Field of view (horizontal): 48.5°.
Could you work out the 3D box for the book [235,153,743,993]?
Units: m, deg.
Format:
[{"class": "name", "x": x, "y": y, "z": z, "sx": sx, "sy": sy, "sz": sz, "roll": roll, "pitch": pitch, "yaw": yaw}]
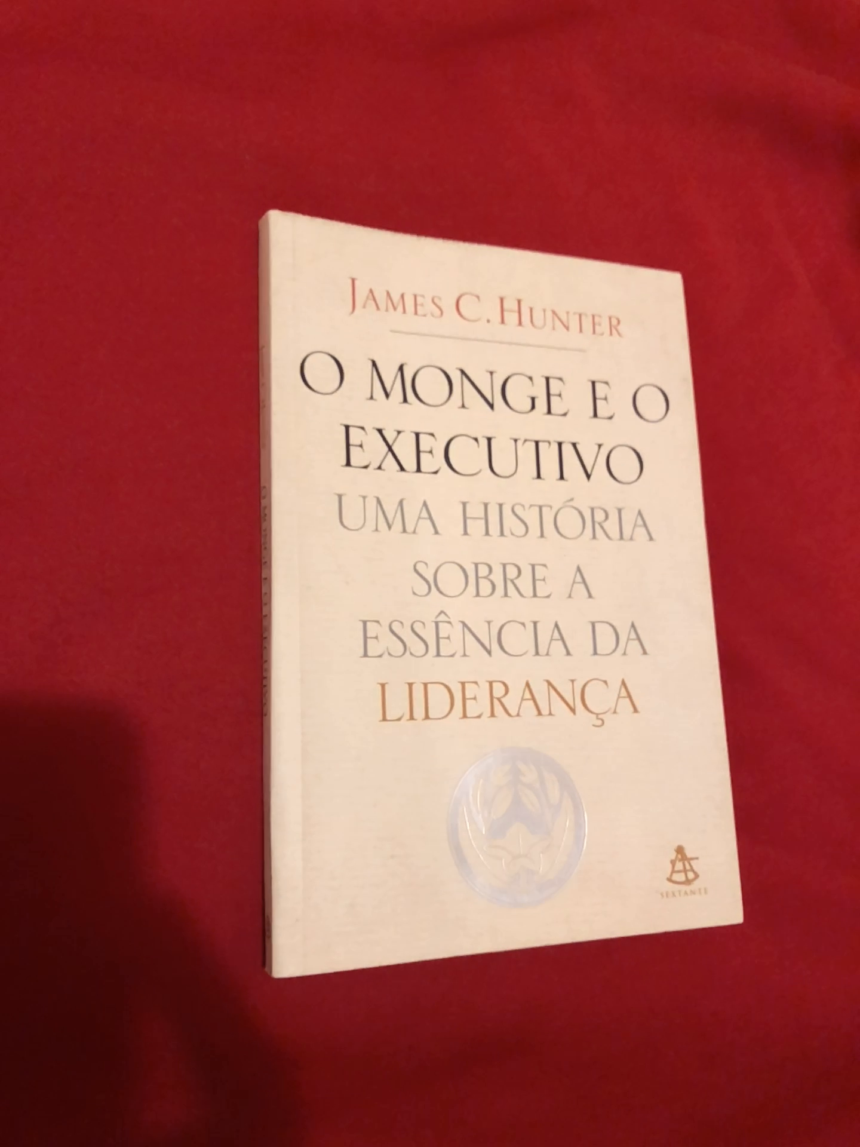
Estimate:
[{"class": "book", "x": 0.015, "y": -0.004, "z": 0.285, "sx": 0.140, "sy": 0.030, "sz": 0.220, "roll": 2, "pitch": 77, "yaw": -22}]
